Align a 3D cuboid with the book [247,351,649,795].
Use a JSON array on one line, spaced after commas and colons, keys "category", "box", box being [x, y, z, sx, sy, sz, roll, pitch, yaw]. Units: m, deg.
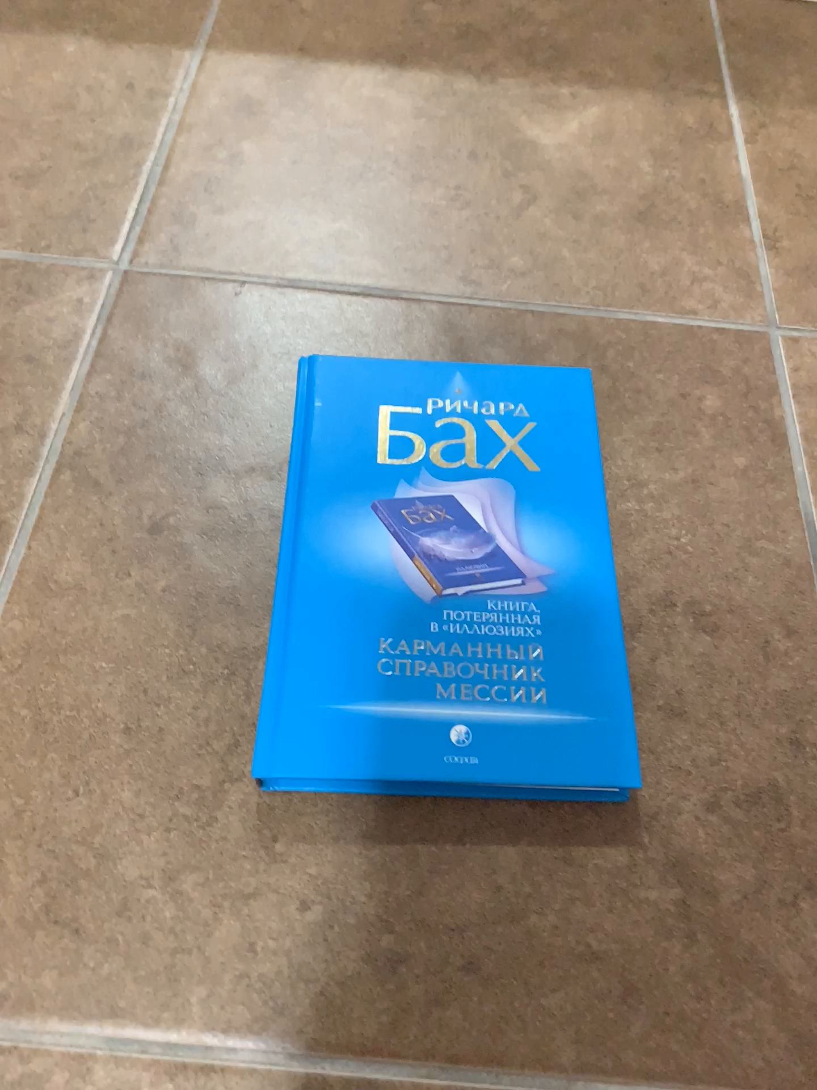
[{"category": "book", "box": [0.014, 0.001, 0.303, 0.122, 0.015, 0.169, 2, 59, -2]}]
